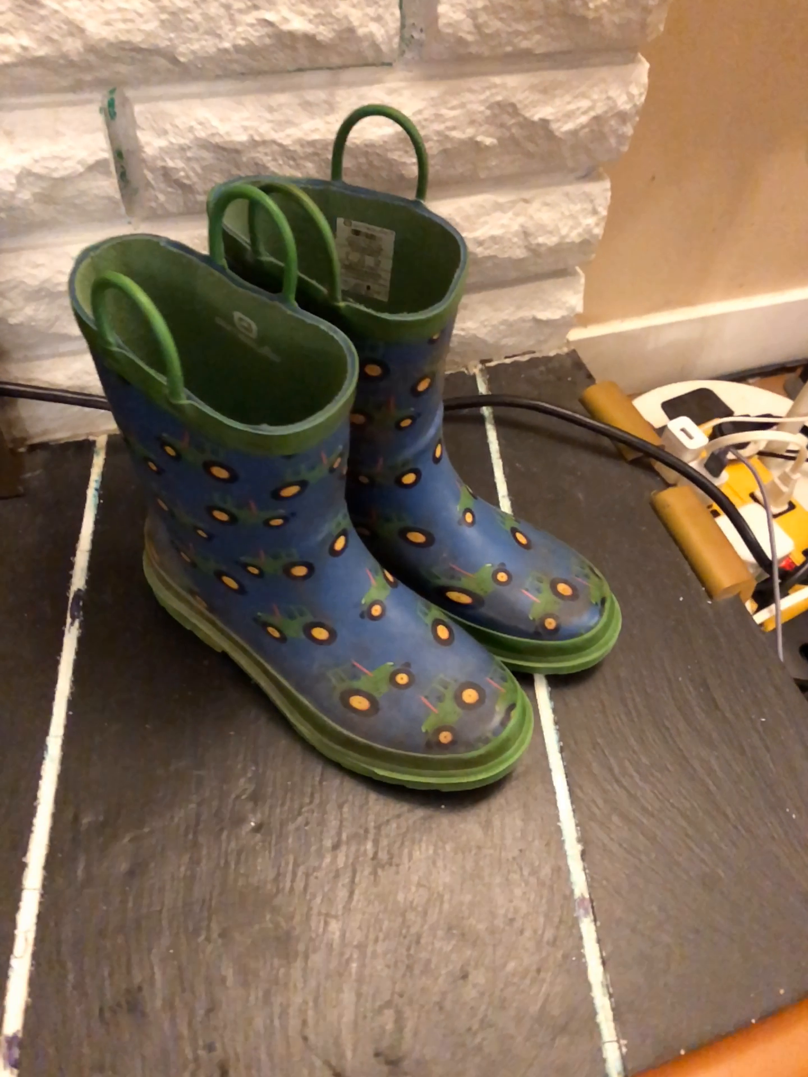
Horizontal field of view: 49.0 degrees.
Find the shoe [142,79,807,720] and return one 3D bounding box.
[{"bbox_3d":[0.021,-0.052,0.429,0.240,0.229,0.100,23,54,10],"label":"shoe"}]

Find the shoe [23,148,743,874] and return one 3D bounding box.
[{"bbox_3d":[-0.021,0.002,0.396,0.230,0.239,0.100,32,57,17],"label":"shoe"}]
